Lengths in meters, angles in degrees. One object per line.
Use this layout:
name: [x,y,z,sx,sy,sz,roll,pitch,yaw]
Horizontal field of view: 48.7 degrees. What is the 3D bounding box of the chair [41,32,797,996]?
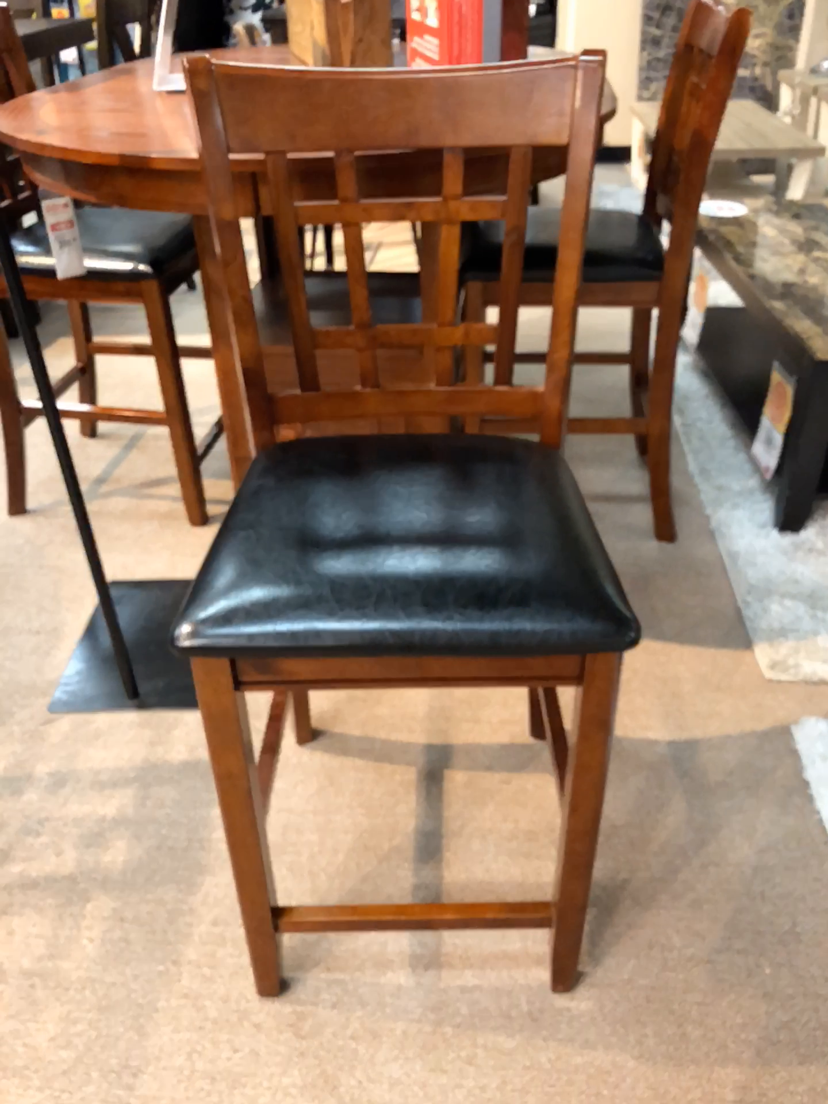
chair: [0.010,-0.018,1.051,0.470,0.963,0.524,-1,33,0]
